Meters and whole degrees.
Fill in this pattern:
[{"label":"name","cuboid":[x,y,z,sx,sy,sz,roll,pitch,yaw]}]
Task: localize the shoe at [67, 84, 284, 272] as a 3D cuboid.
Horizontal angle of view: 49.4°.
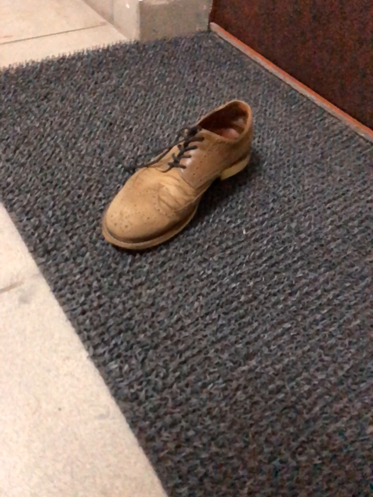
[{"label":"shoe","cuboid":[-0.004,-0.113,0.568,0.110,0.099,0.301,37,55,21]}]
